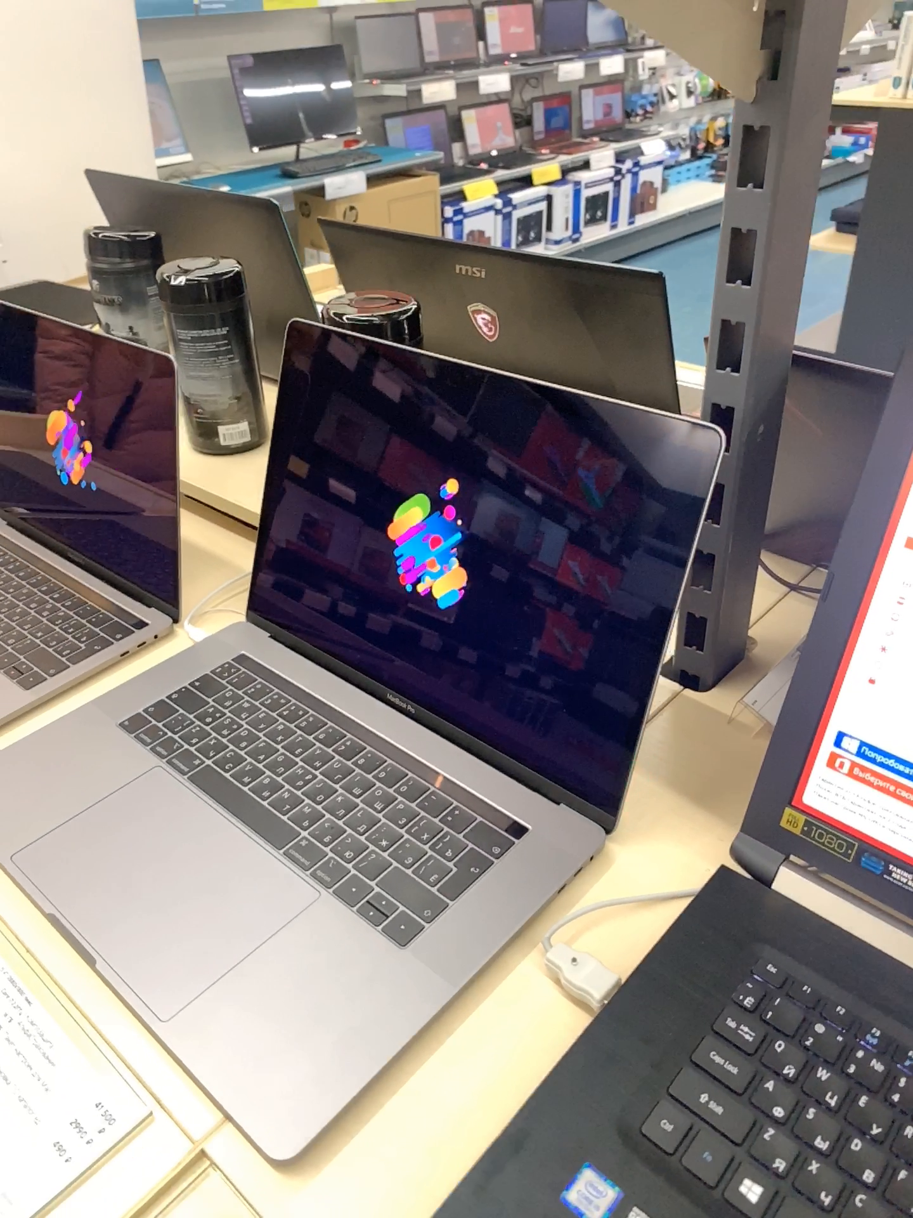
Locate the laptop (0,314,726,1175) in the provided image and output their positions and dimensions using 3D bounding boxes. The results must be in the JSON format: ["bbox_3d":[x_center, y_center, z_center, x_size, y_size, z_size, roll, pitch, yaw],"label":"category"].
[{"bbox_3d":[-0.098,0.011,0.523,0.346,0.210,0.325,25,43,35],"label":"laptop"}]
